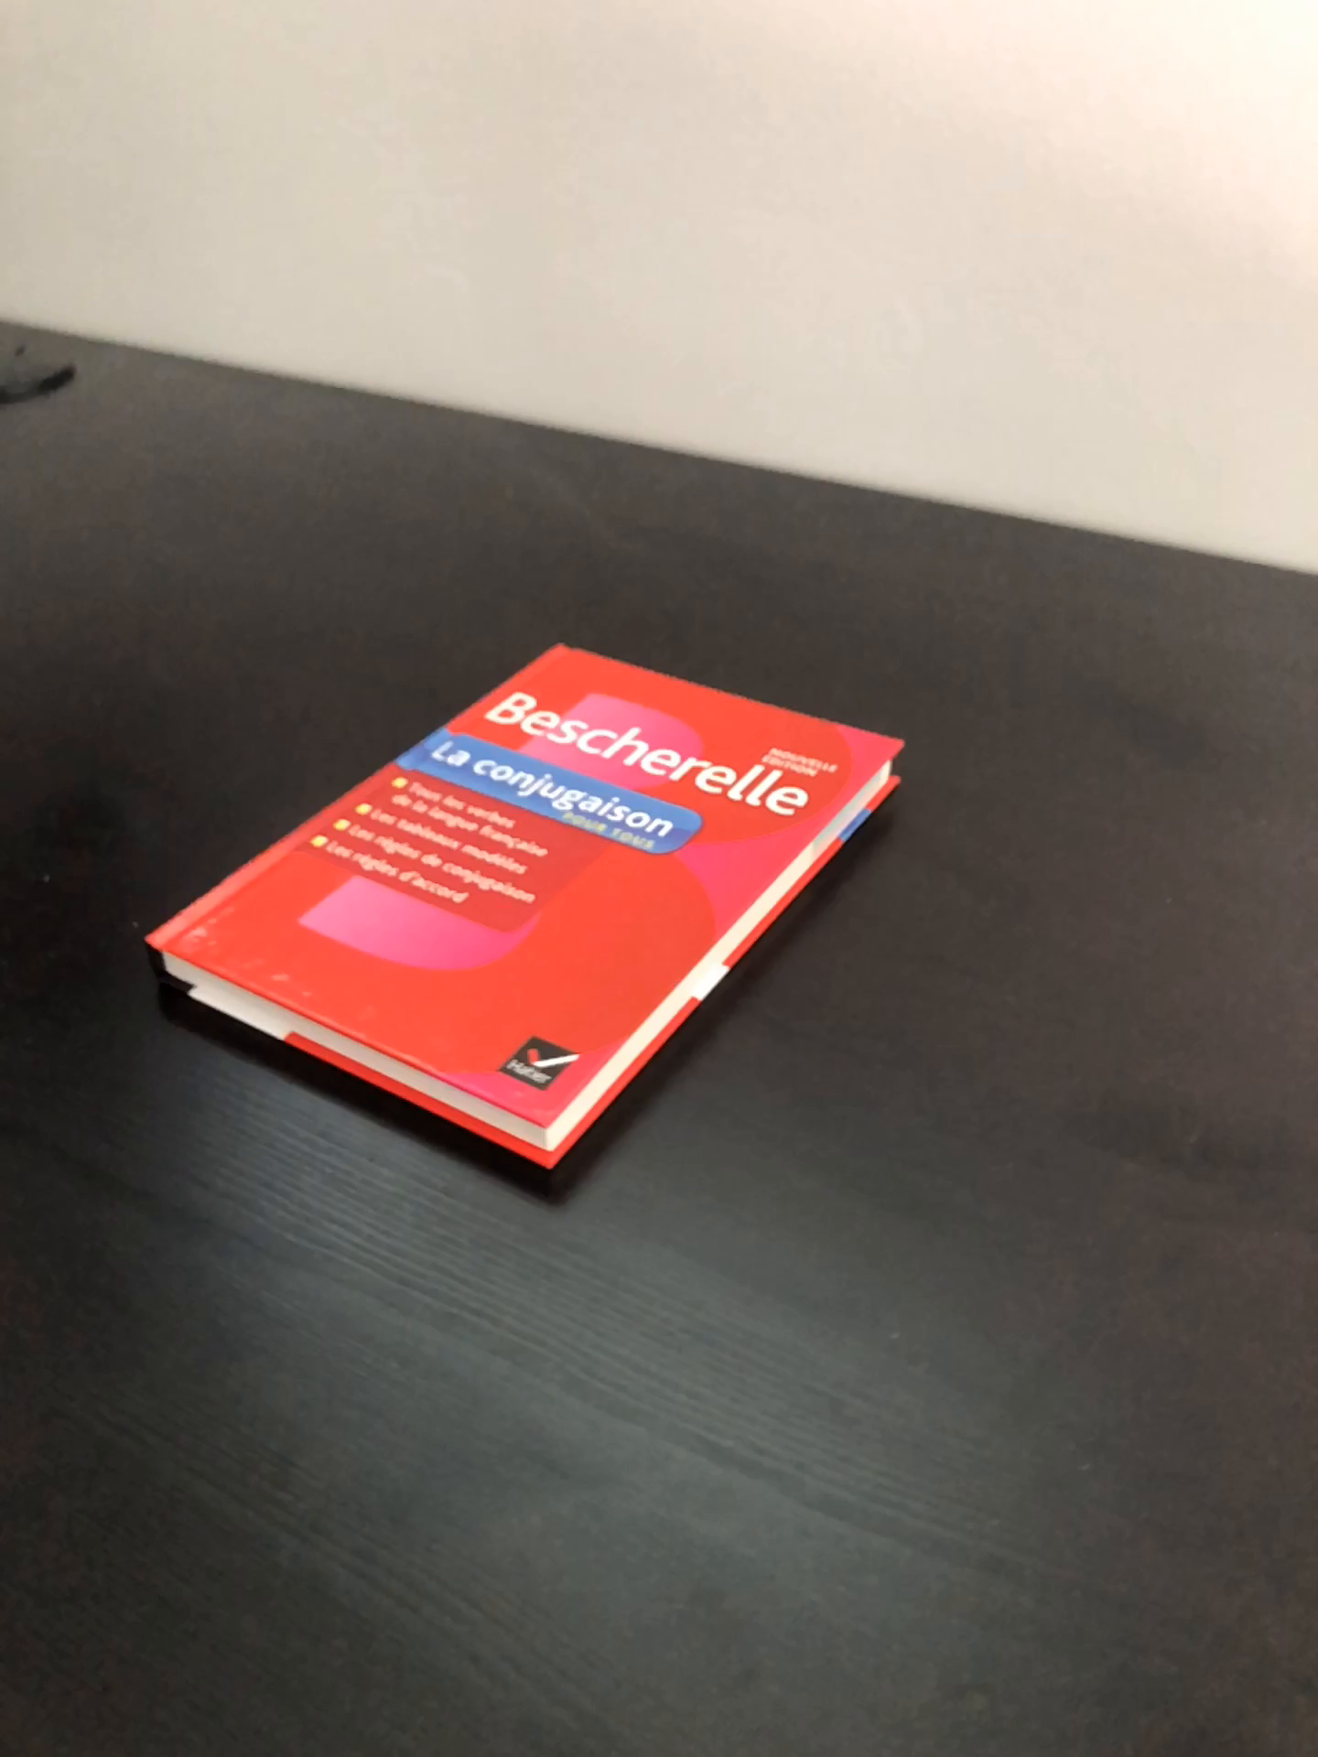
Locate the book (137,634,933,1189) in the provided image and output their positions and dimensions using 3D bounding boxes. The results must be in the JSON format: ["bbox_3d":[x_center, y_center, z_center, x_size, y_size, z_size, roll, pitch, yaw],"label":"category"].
[{"bbox_3d":[-0.029,-0.008,0.452,0.150,0.020,0.204,20,42,28],"label":"book"}]
